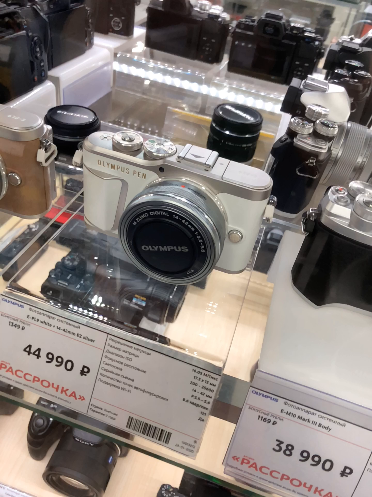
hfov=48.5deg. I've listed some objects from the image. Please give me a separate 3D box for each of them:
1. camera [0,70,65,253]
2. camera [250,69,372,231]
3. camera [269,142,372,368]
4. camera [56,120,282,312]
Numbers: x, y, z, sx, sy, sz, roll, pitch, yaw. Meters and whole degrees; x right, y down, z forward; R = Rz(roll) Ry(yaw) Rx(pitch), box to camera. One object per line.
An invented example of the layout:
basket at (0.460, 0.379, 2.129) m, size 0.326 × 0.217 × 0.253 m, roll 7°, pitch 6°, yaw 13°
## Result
camera at (-0.132, -0.055, 0.254) m, size 0.087 × 0.072 × 0.061 m, roll 16°, pitch 40°, yaw 7°
camera at (0.104, -0.084, 0.332) m, size 0.072 × 0.072 × 0.115 m, roll 17°, pitch 40°, yaw 8°
camera at (0.111, 0.002, 0.215) m, size 0.114 × 0.072 × 0.053 m, roll 16°, pitch 40°, yaw 7°
camera at (-0.010, -0.021, 0.248) m, size 0.114 × 0.070 × 0.053 m, roll 16°, pitch 40°, yaw 7°
